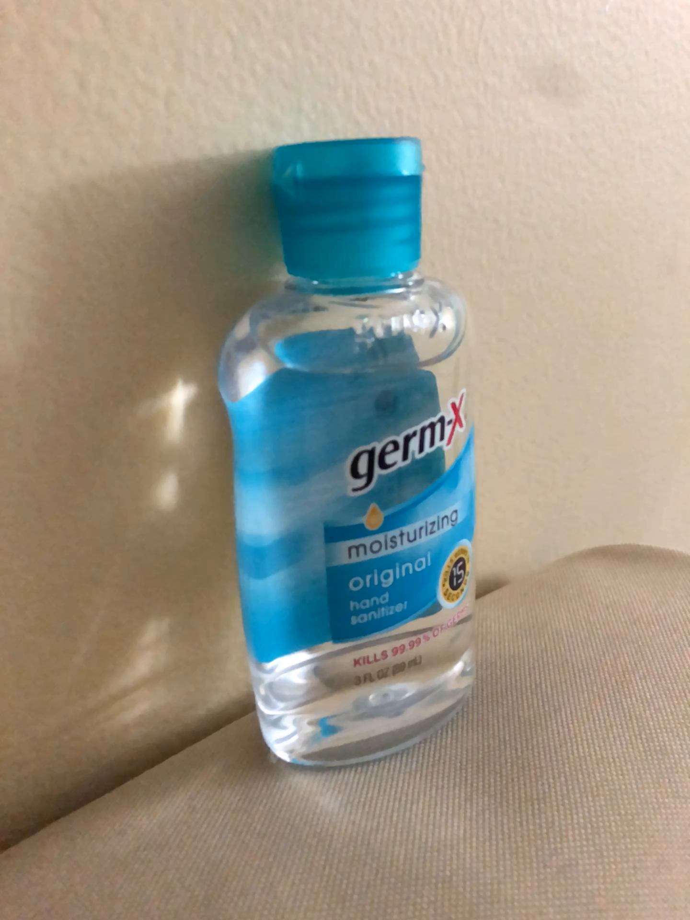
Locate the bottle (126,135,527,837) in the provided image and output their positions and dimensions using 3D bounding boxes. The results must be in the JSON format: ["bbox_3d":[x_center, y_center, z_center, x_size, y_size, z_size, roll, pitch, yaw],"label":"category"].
[{"bbox_3d":[0.001,0.001,0.143,0.060,0.110,0.030,-16,23,-38],"label":"bottle"}]
